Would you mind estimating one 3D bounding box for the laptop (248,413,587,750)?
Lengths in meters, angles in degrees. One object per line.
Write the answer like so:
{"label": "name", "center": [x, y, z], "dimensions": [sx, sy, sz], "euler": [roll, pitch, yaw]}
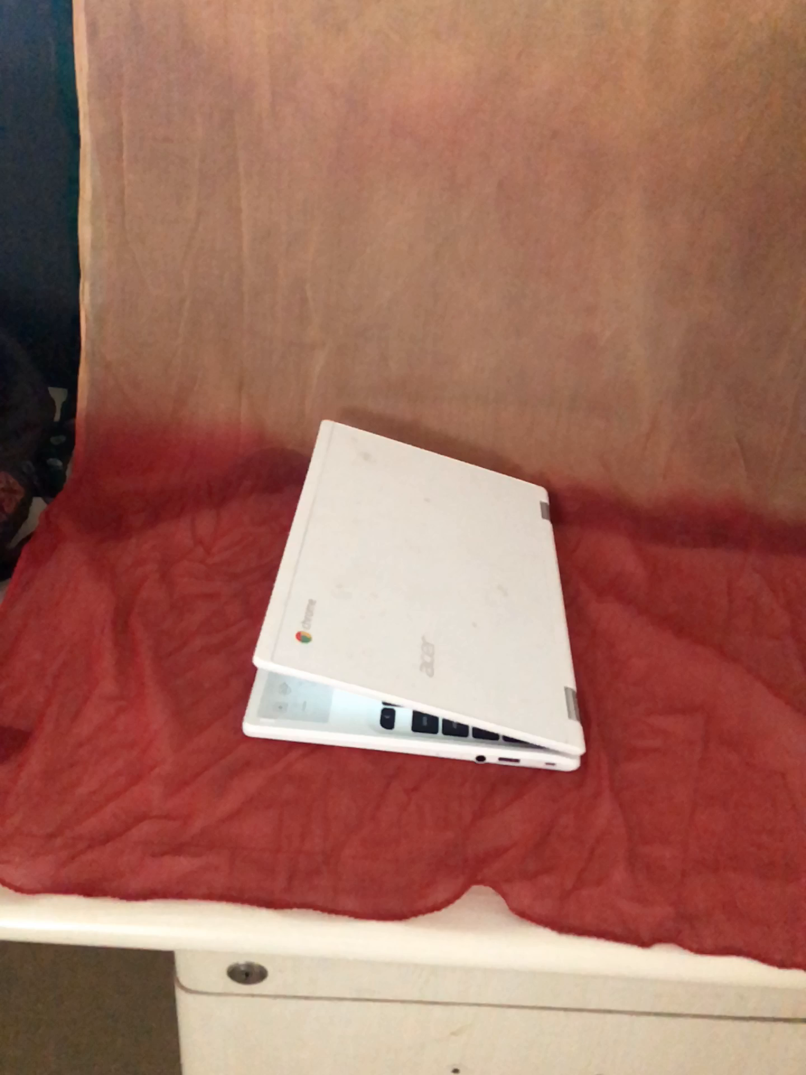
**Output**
{"label": "laptop", "center": [0.017, 0.011, 0.626], "dimensions": [0.189, 0.055, 0.290], "euler": [6, 34, 1]}
